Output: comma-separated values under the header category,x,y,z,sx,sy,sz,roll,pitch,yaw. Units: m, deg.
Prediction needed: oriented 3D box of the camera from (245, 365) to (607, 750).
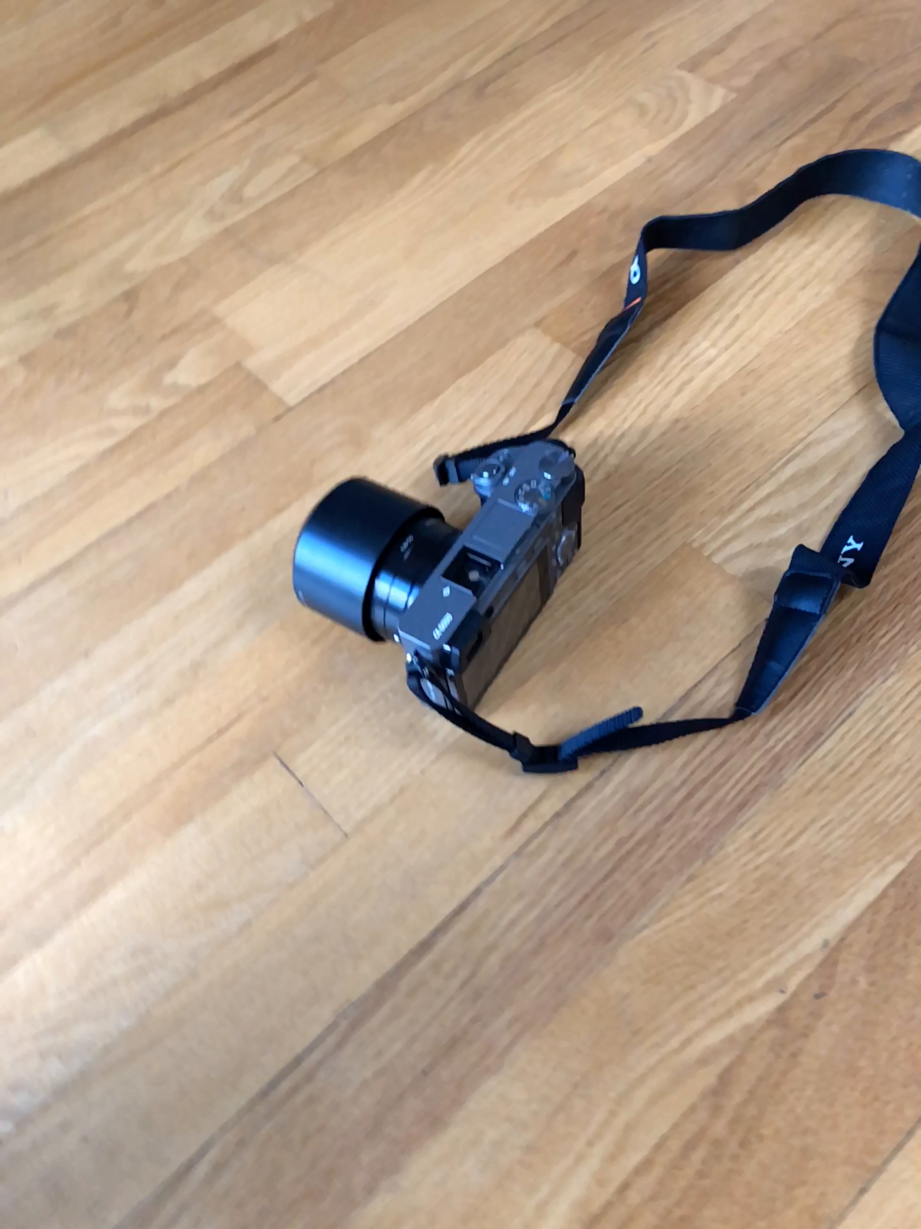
category,x,y,z,sx,sy,sz,roll,pitch,yaw
camera,-0.010,-0.030,0.486,0.107,0.079,0.136,25,64,20
